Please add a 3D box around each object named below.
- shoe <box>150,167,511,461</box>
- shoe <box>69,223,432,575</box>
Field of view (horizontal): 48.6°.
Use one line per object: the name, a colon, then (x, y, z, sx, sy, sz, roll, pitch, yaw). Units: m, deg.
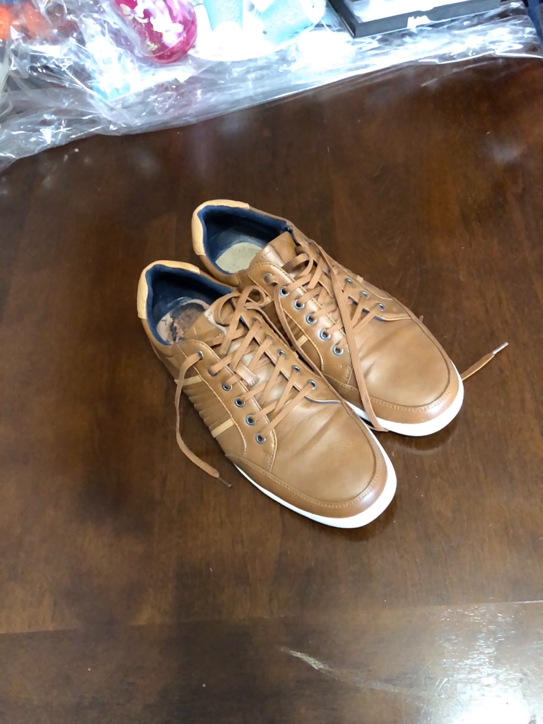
shoe: (0.040, -0.053, 0.523, 0.291, 0.080, 0.110, 35, 74, 28)
shoe: (-0.025, 0.015, 0.479, 0.110, 0.080, 0.291, -43, 60, -12)
